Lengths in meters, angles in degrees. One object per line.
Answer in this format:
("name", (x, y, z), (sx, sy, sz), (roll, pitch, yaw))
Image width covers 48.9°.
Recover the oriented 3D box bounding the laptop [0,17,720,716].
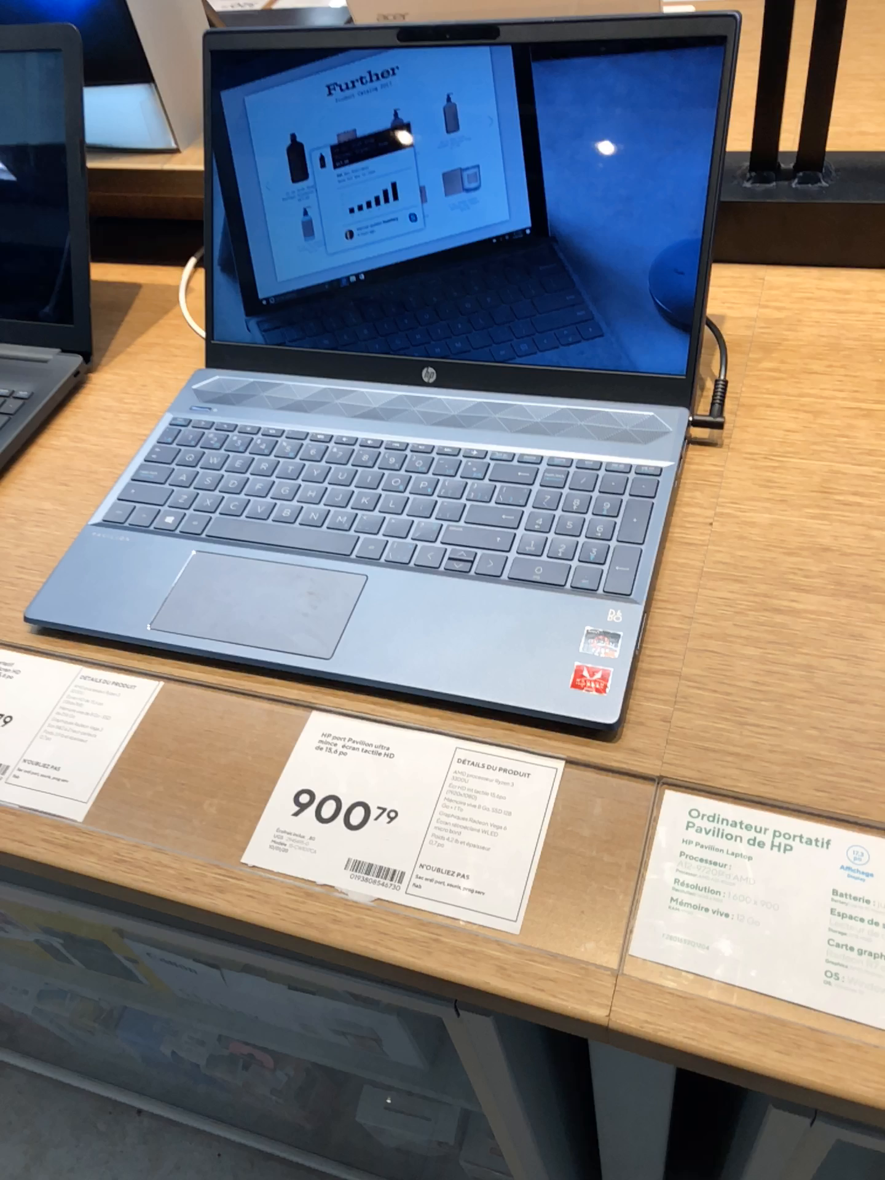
("laptop", (-0.042, -0.156, 0.557), (0.338, 0.185, 0.356), (8, 50, 17))
